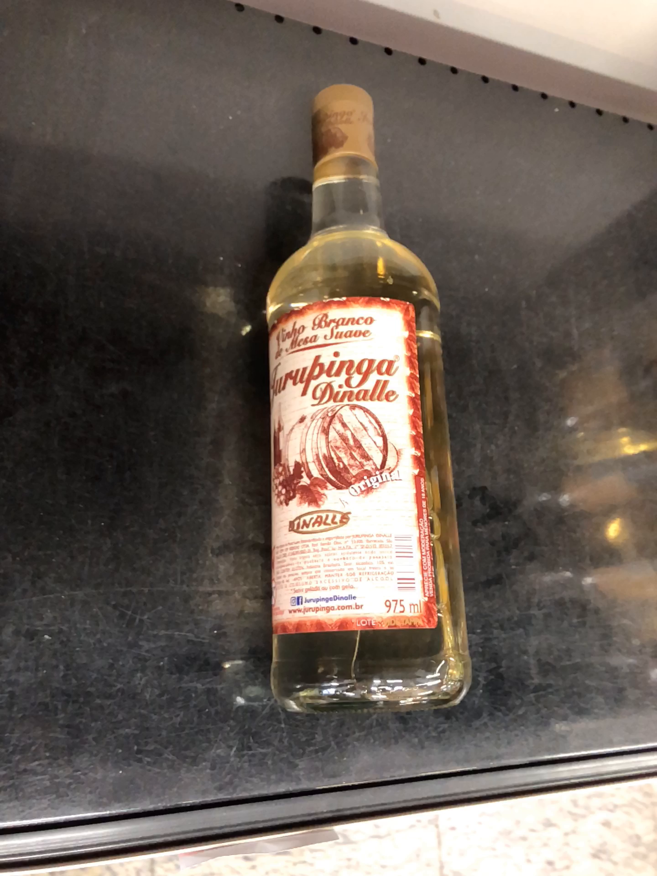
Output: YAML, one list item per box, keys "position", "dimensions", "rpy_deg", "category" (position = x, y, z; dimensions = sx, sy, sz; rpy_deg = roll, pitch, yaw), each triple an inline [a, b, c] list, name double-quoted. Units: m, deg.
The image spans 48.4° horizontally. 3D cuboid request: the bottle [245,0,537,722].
- position: [0.026, -0.037, 0.337]
  dimensions: [0.100, 0.080, 0.300]
  rpy_deg: [19, 65, -53]
  category: "bottle"
